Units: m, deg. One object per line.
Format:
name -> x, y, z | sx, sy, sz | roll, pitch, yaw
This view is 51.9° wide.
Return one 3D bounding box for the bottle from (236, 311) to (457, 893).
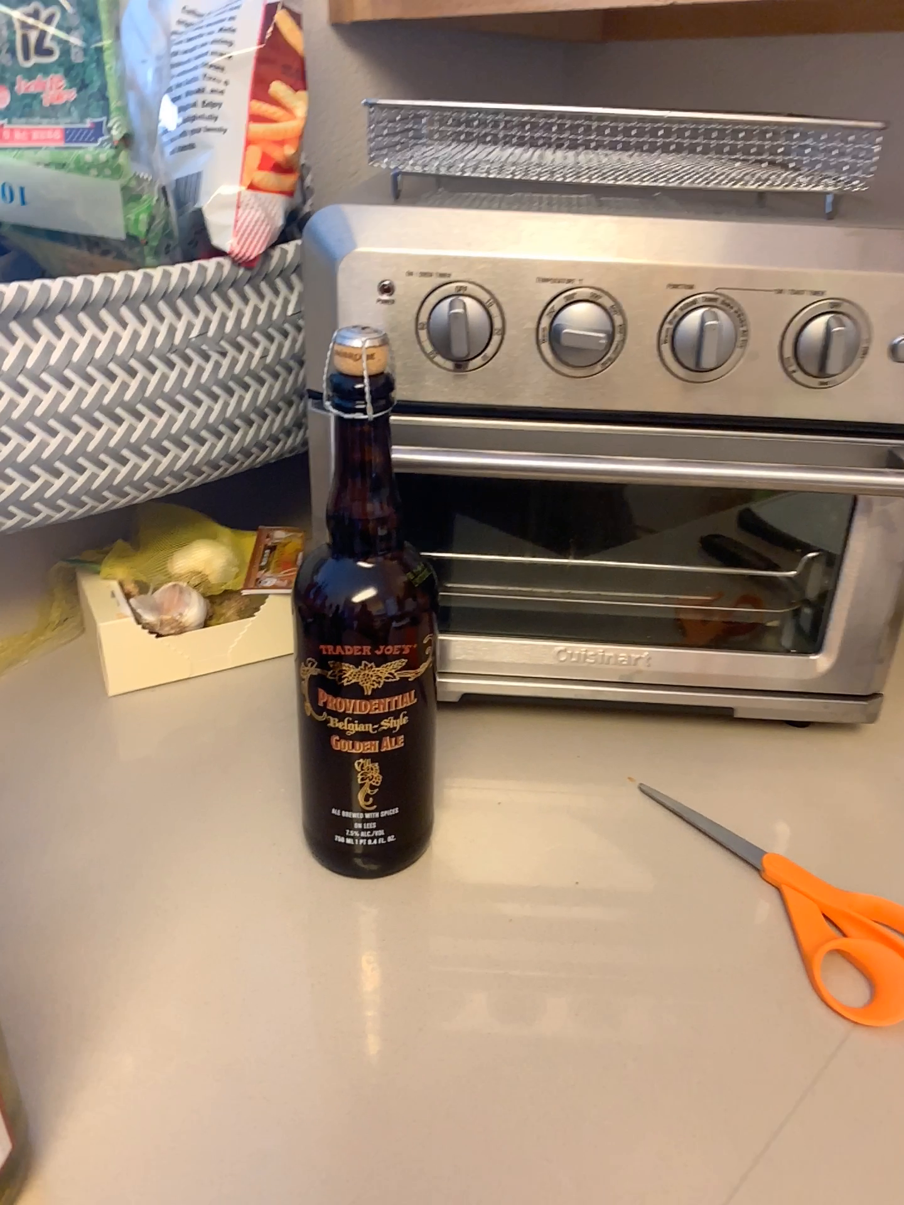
bottle -> -0.049, 0.010, 0.485 | 0.090, 0.298, 0.080 | 0, 28, -4
